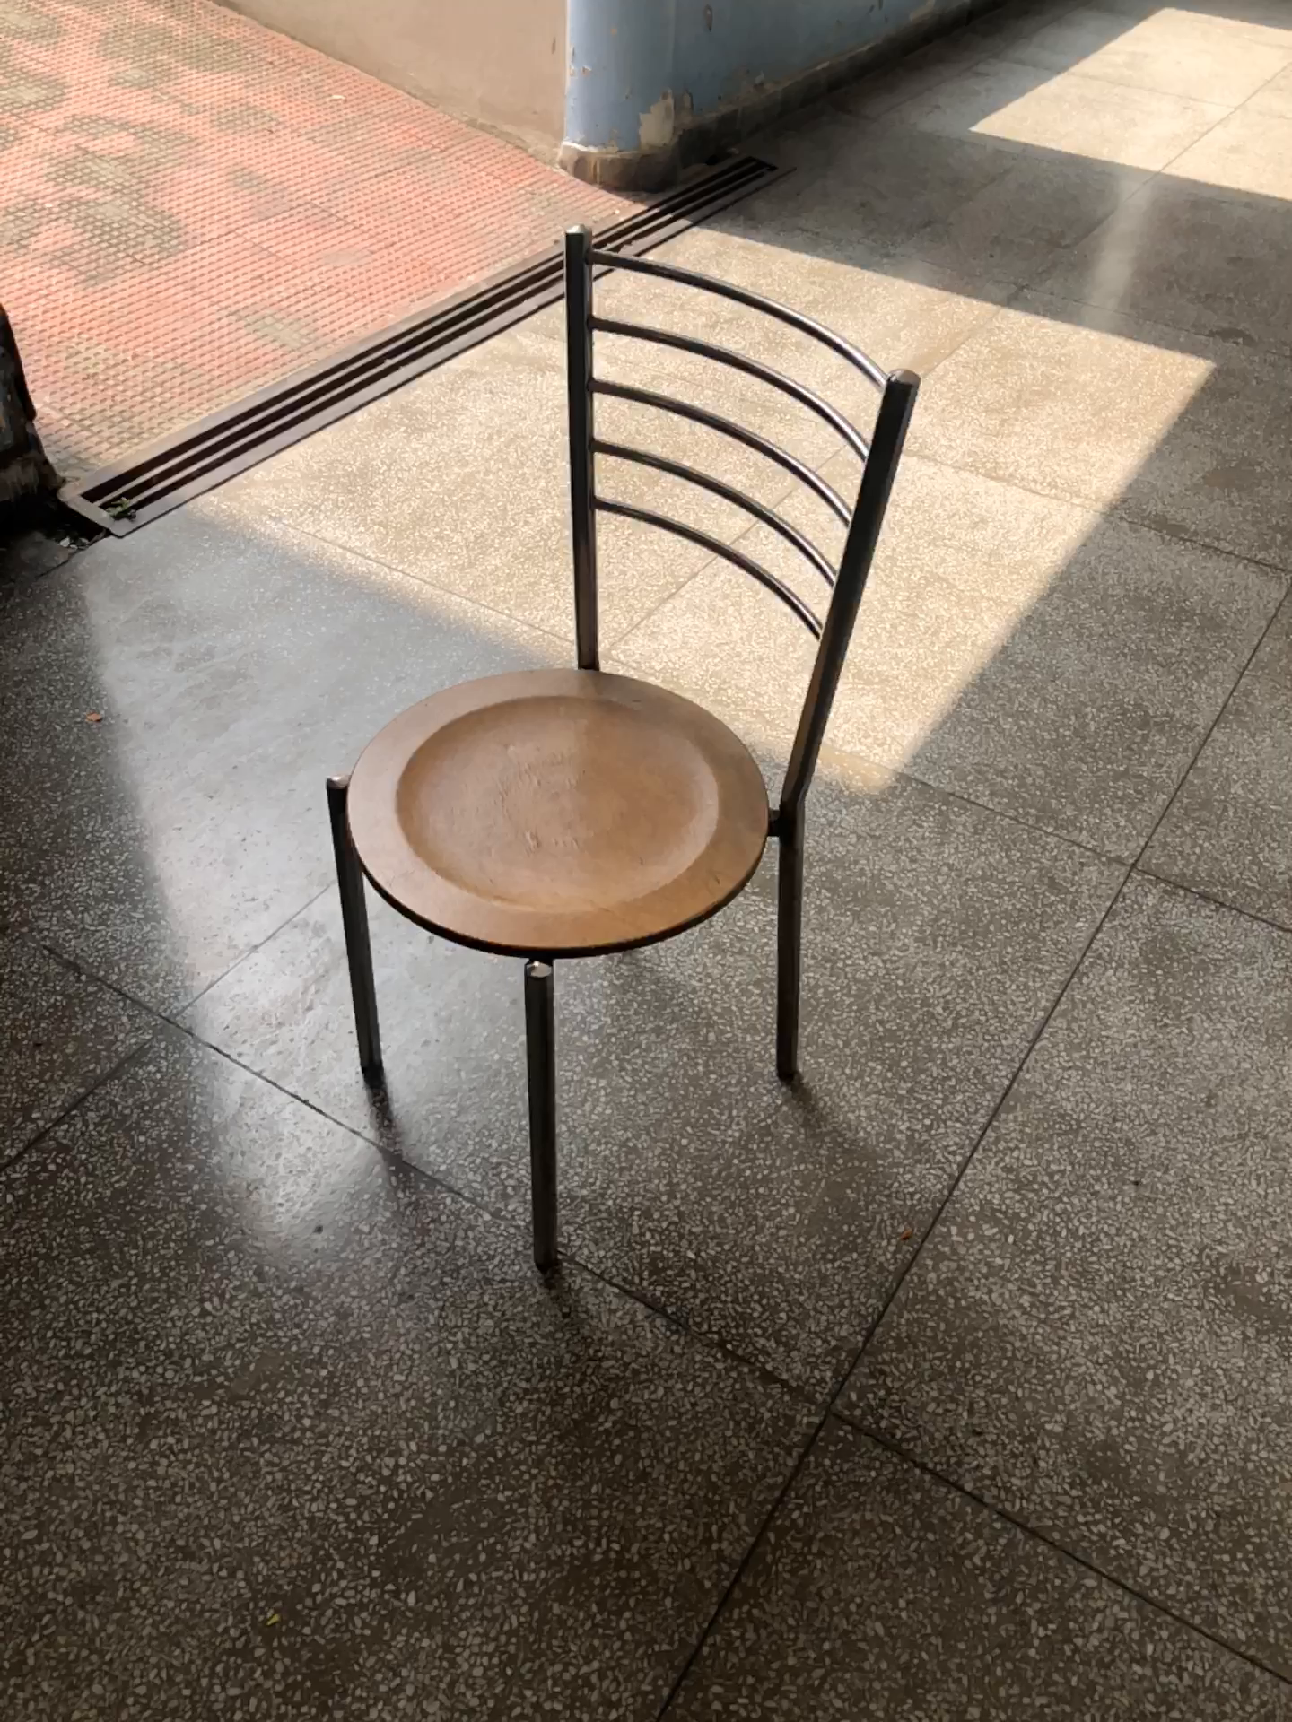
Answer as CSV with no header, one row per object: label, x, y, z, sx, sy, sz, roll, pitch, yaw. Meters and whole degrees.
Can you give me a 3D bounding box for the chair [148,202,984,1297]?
chair,-0.075,-0.081,1.274,0.421,0.777,0.421,-31,53,-31
